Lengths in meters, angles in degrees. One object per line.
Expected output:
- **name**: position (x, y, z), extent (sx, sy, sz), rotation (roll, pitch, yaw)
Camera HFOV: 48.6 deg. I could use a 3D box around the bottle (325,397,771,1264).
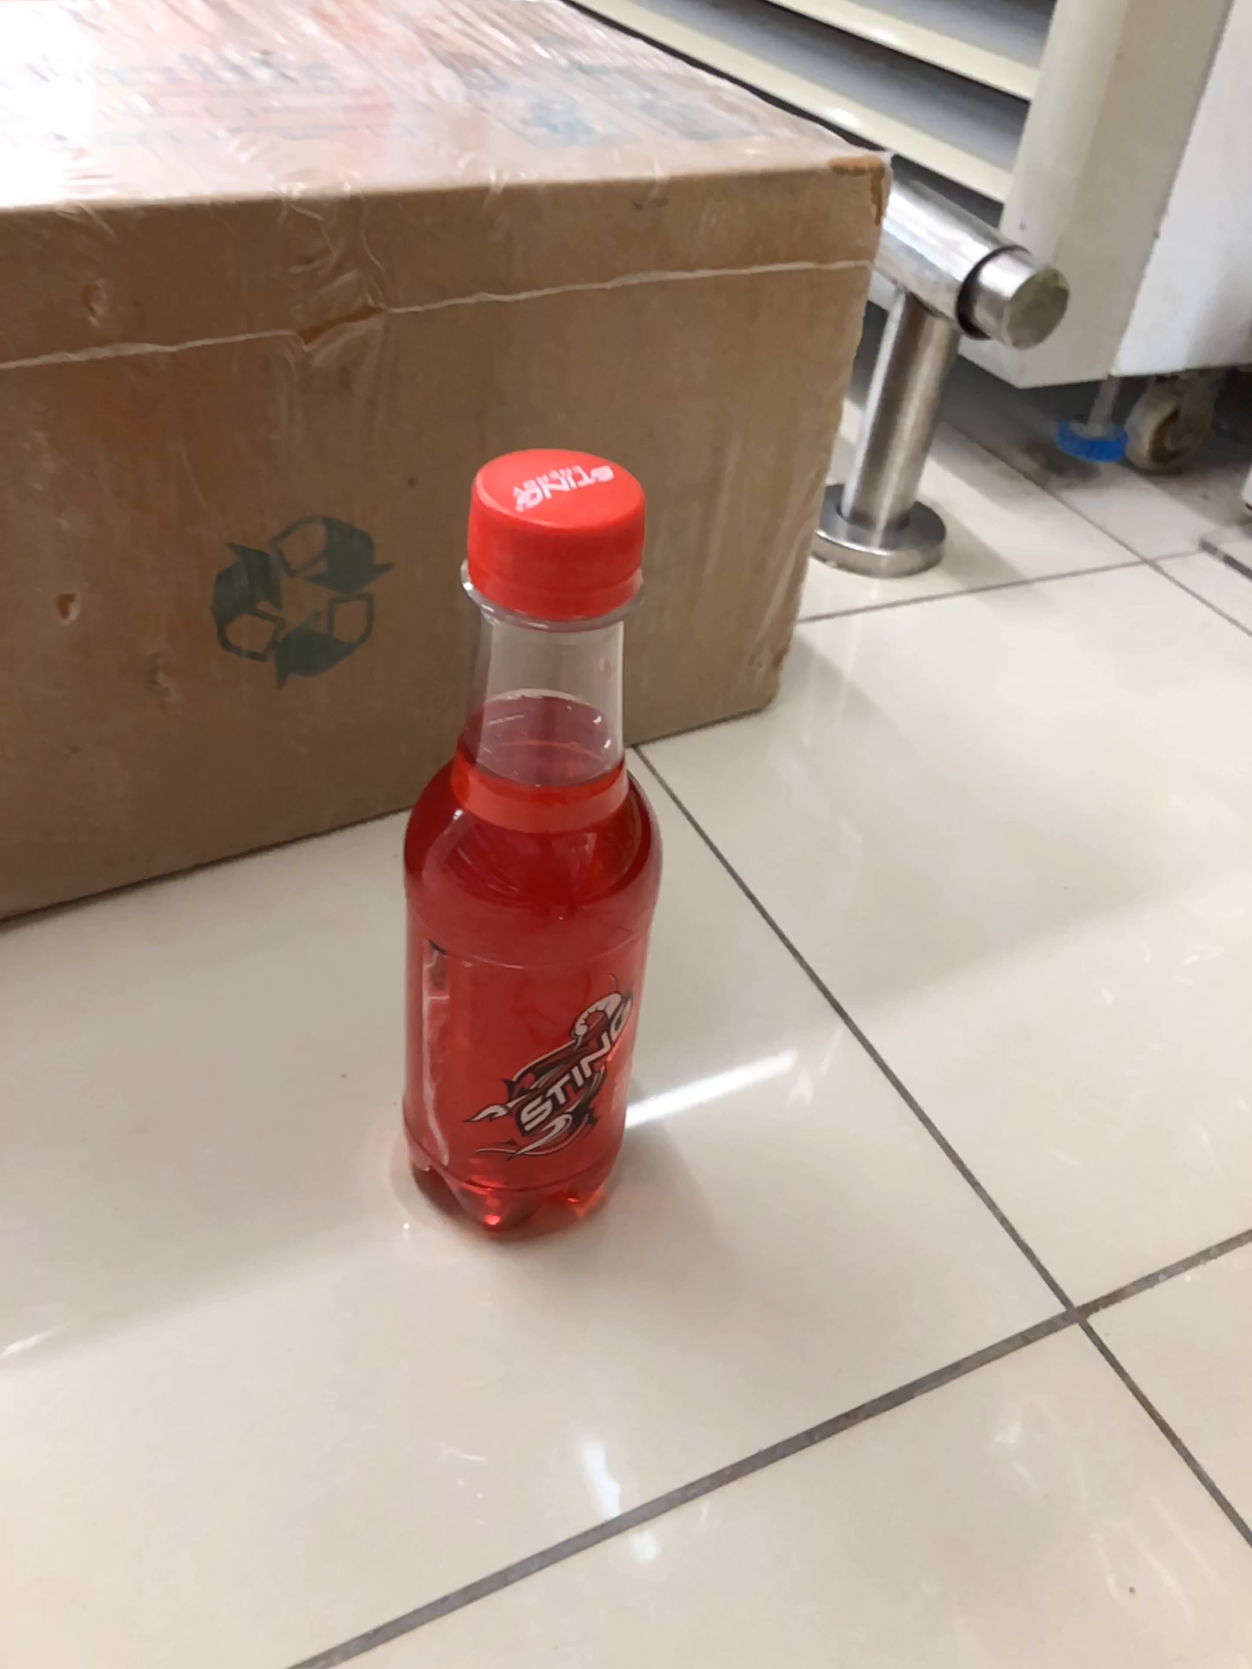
- **bottle**: position (-0.024, 0.006, 0.302), extent (0.060, 0.179, 0.060), rotation (4, 38, -3)
